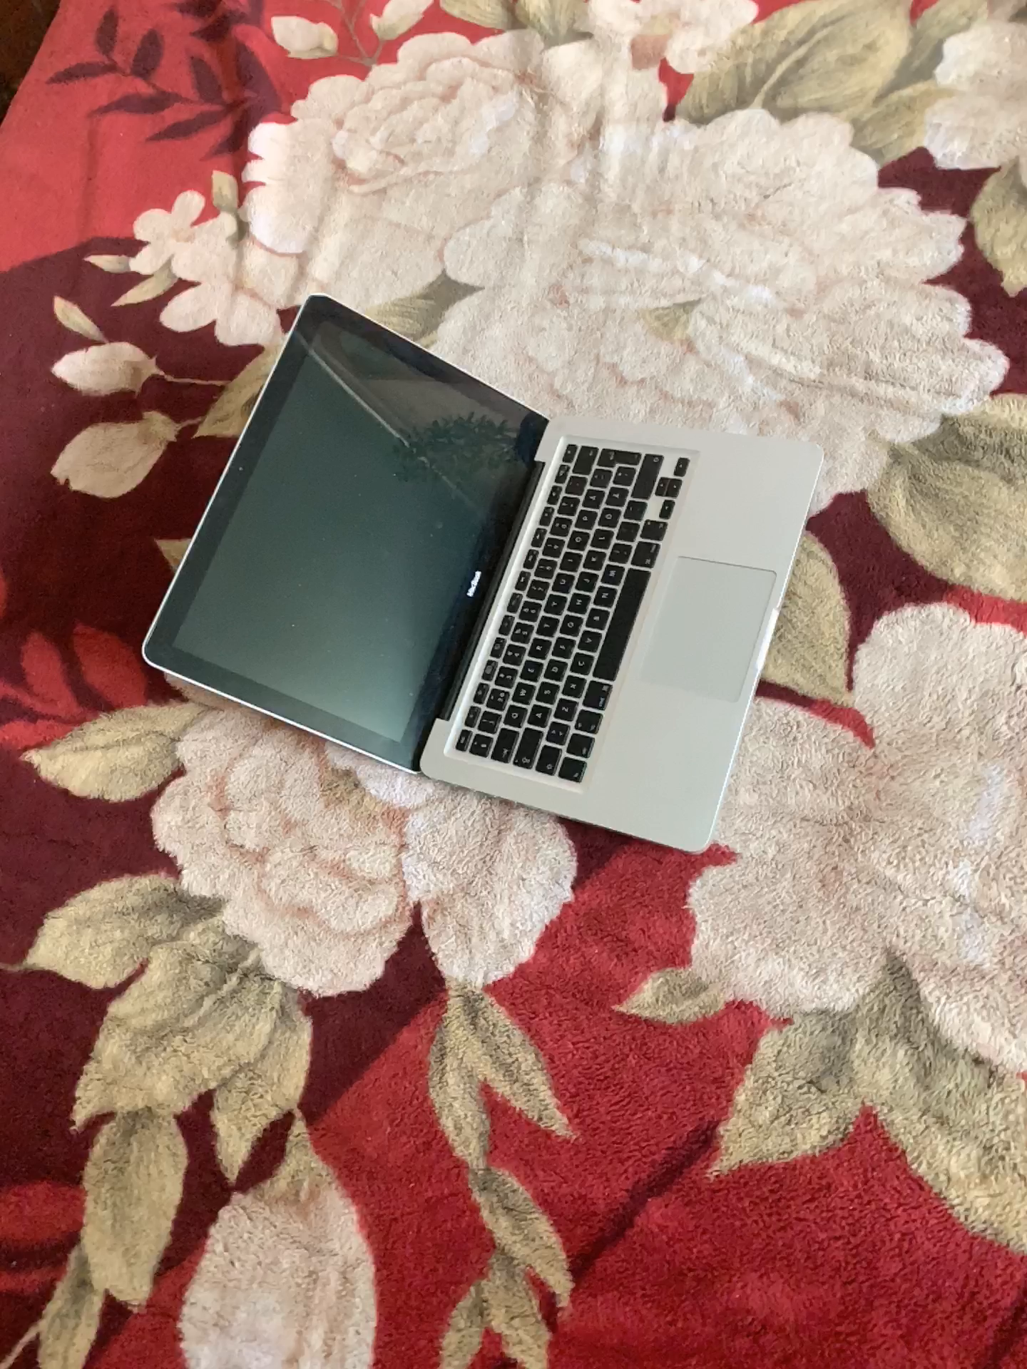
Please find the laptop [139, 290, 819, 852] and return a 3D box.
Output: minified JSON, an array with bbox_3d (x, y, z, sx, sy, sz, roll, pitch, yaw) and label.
[{"bbox_3d":[-0.016,-0.096,0.753,0.388,0.116,0.317,14,74,20],"label":"laptop"}]
